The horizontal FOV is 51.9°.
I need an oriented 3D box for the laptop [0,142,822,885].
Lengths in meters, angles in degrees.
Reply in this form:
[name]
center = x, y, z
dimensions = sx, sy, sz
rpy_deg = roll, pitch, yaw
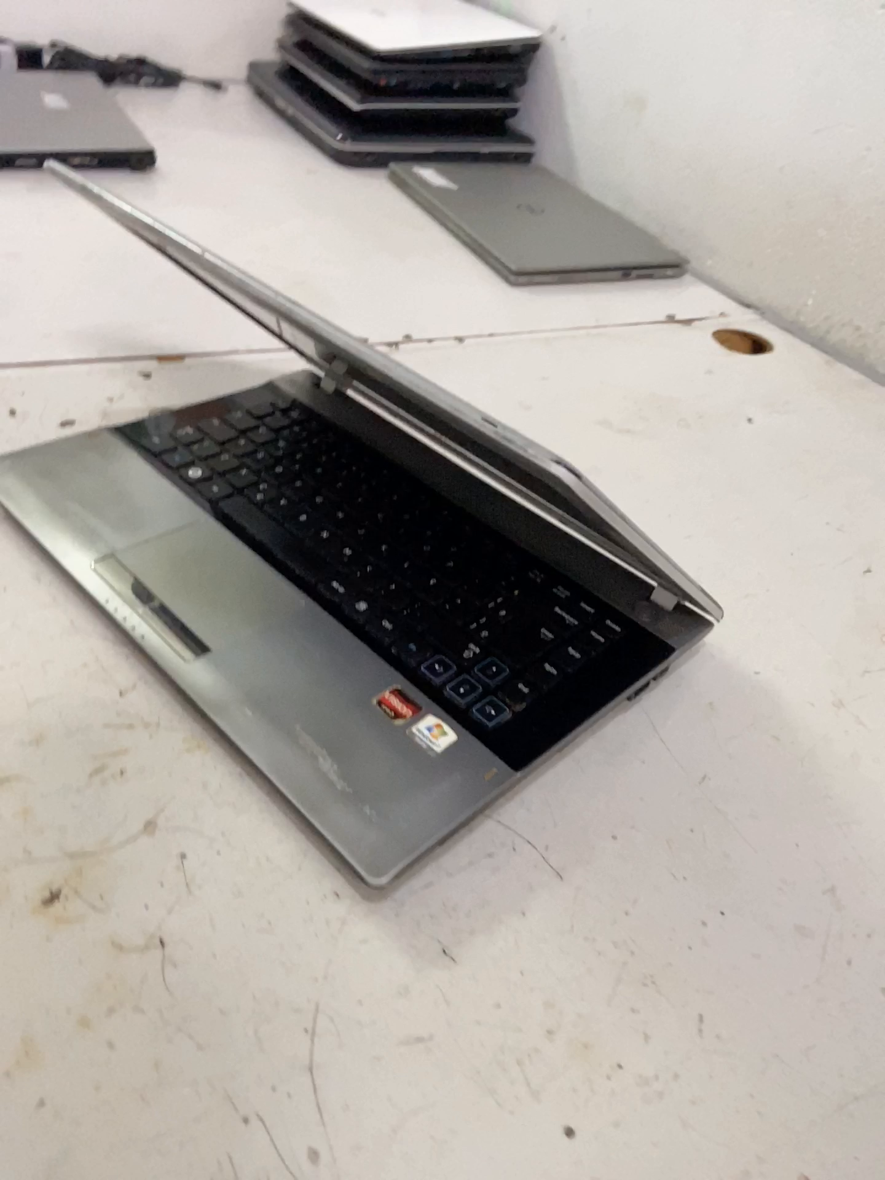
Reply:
[laptop]
center = -0.052, -0.083, 0.447
dimensions = 0.234, 0.150, 0.345
rpy_deg = -28, 51, -36
